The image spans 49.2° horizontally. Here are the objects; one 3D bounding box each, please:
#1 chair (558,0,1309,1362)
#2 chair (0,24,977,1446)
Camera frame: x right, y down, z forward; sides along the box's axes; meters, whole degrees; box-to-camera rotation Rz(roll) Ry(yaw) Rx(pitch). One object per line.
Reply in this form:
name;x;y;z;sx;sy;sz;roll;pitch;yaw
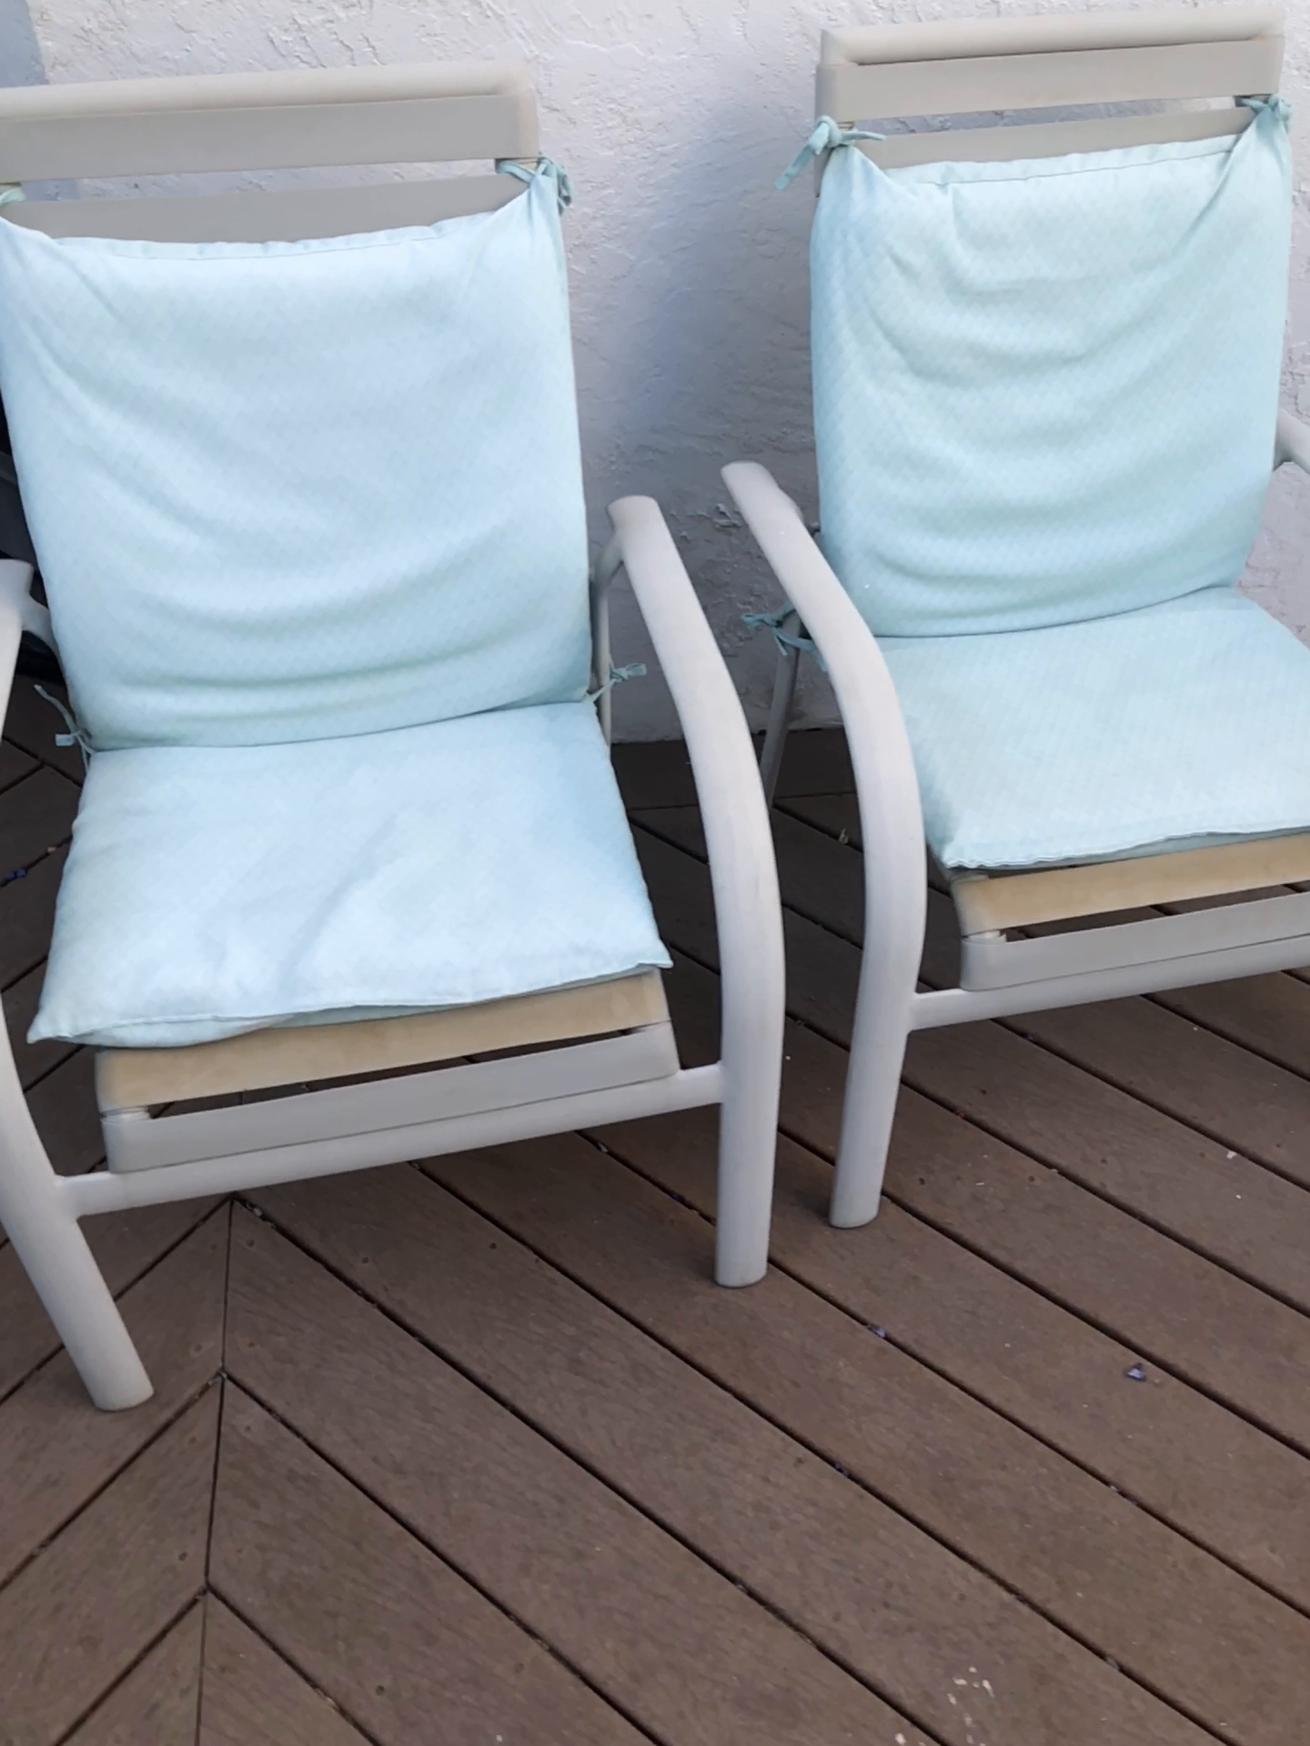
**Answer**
chair;0.390;-0.186;1.715;0.840;1.273;0.874;-8;47;-9
chair;-0.255;-0.112;1.334;0.700;0.965;0.784;-8;47;-9
